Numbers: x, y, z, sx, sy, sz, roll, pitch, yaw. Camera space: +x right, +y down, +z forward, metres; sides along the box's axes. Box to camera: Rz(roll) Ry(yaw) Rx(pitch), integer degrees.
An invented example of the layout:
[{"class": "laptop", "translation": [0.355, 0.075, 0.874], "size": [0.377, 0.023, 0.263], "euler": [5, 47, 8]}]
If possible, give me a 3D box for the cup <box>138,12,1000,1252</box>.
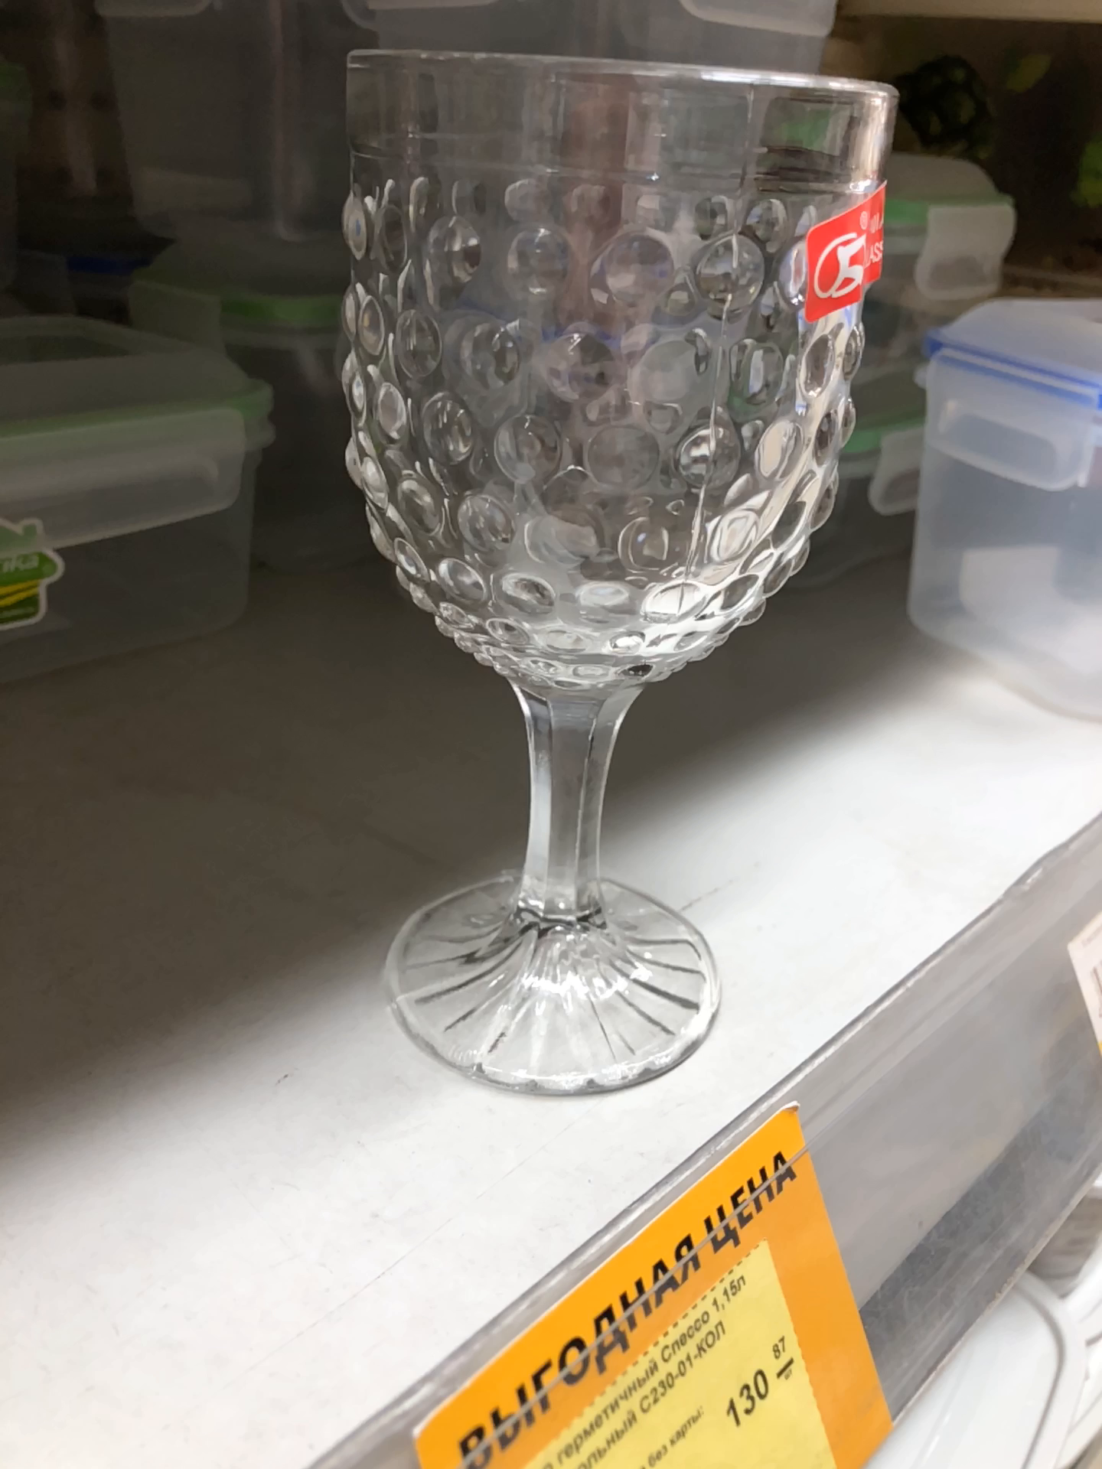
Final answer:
[{"class": "cup", "translation": [-0.001, -0.021, 0.203], "size": [0.086, 0.160, 0.081], "euler": [3, 25, -1]}]
